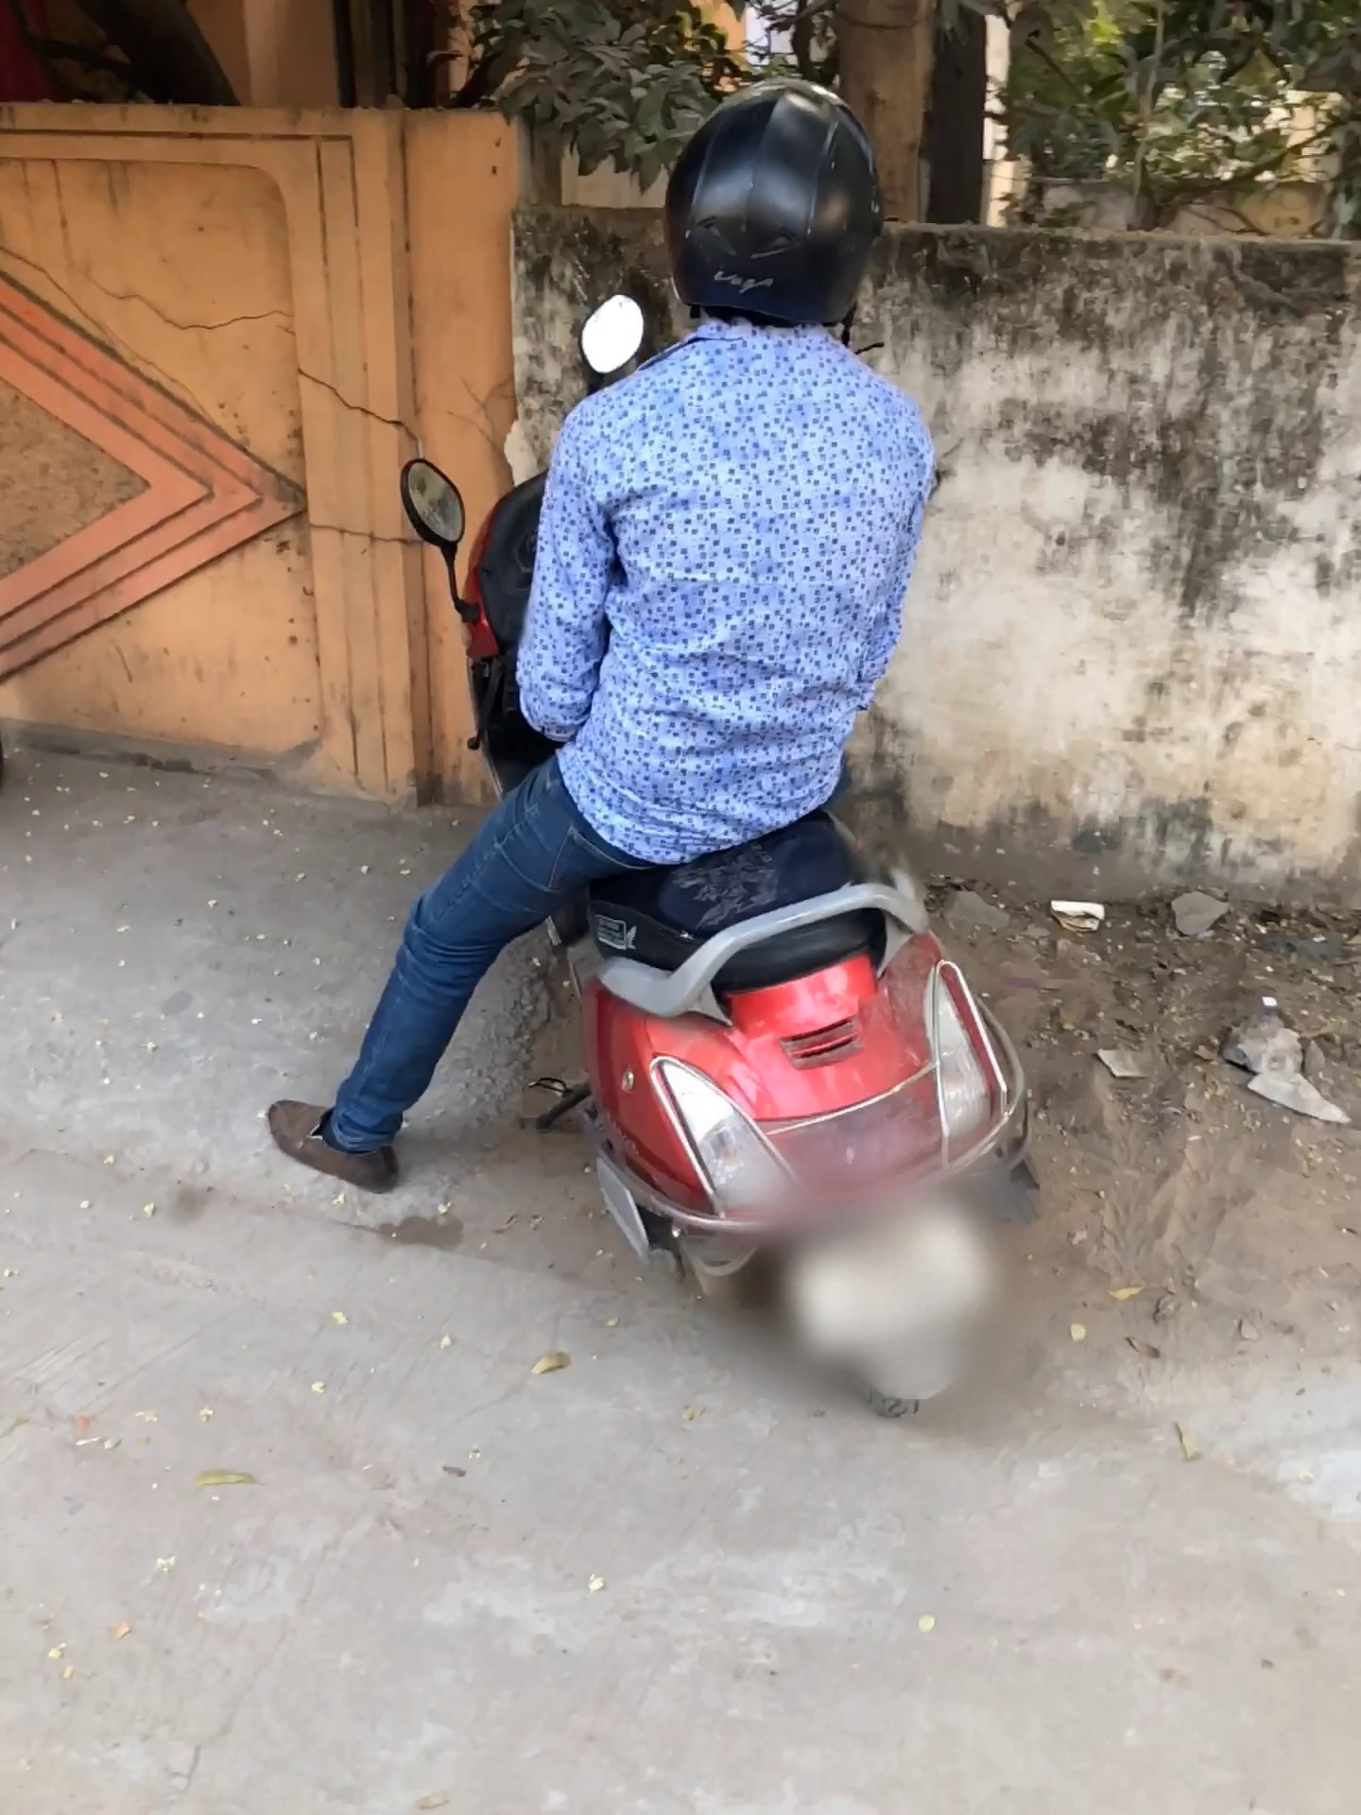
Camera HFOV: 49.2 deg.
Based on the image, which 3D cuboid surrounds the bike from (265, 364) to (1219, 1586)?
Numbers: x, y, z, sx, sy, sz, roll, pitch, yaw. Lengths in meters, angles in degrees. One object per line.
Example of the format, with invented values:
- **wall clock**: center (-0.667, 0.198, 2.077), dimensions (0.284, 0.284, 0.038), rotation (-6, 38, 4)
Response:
- **bike**: center (-0.092, -0.082, 2.294), dimensions (0.723, 1.165, 1.508), rotation (-8, 30, -21)
